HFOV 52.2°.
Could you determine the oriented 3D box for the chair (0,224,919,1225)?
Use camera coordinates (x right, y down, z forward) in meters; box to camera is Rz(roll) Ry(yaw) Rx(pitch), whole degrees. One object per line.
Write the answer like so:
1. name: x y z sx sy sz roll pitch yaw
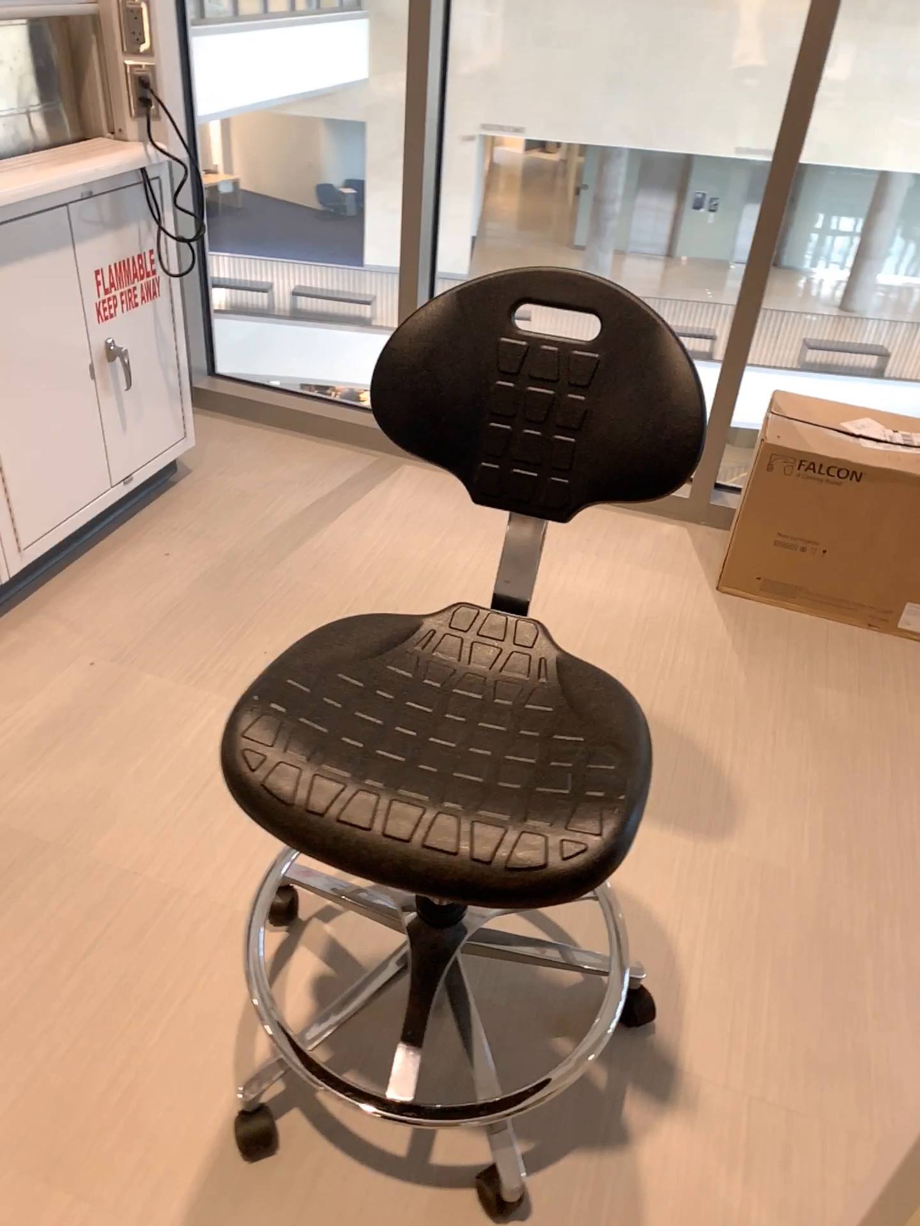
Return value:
1. chair: 0.015 0.153 1.133 0.670 0.961 0.666 10 35 7
